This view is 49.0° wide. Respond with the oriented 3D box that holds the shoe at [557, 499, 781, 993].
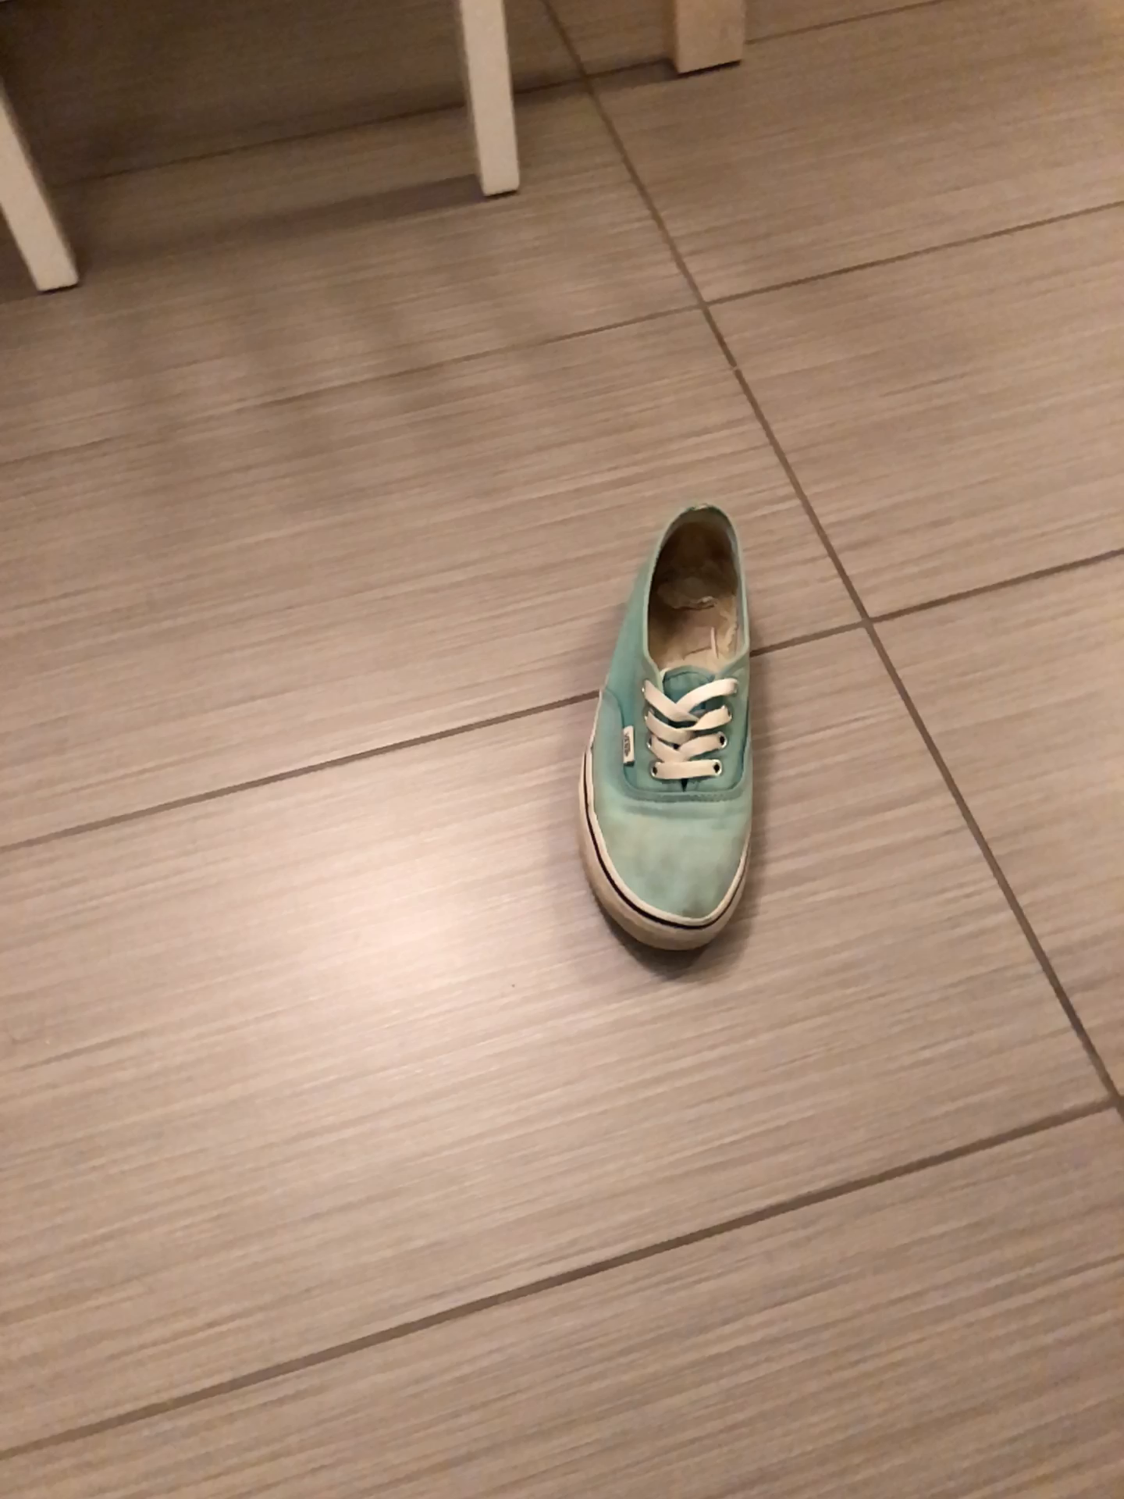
[{"bbox_3d":[0.064,-0.010,0.677,0.090,0.080,0.261,6,59,7],"label":"shoe"}]
